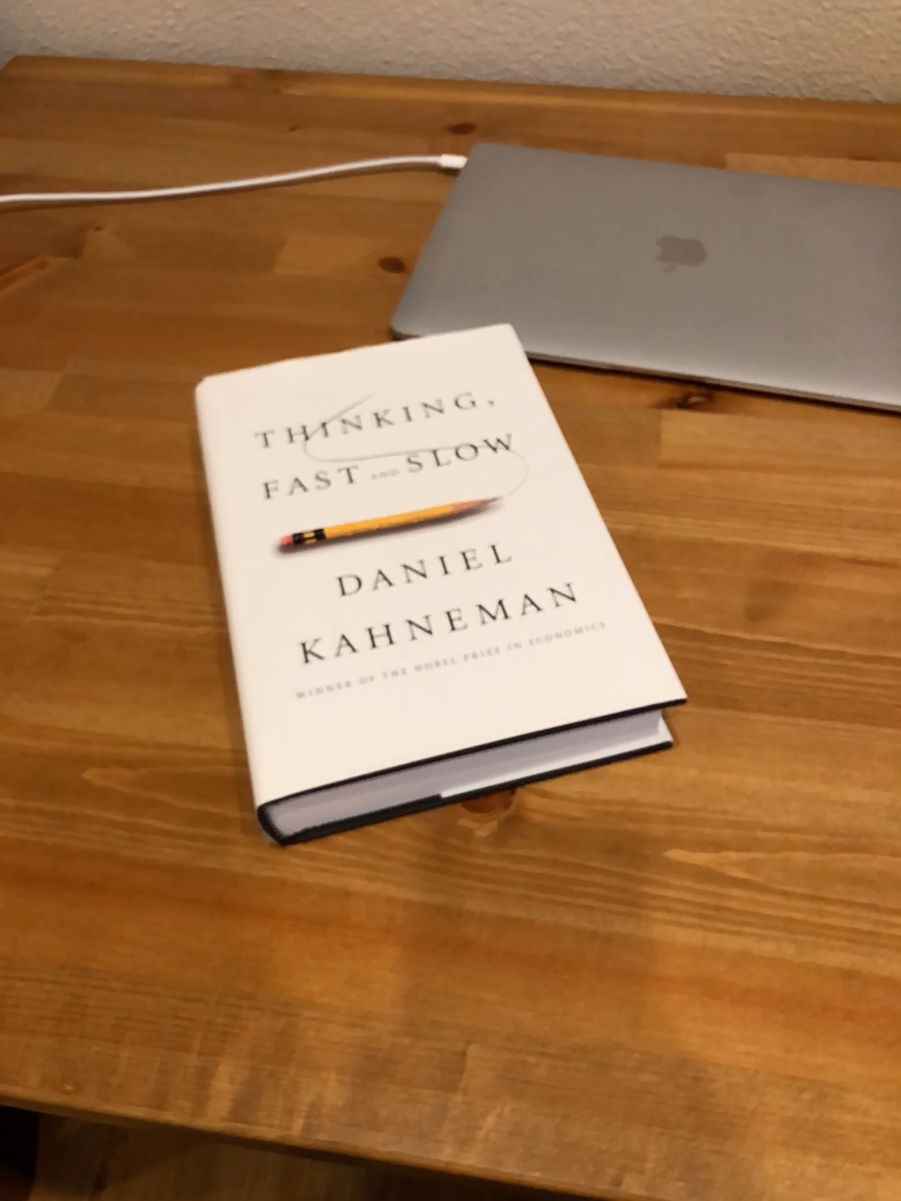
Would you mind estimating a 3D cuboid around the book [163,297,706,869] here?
[{"bbox_3d":[-0.024,-0.027,0.460,0.180,0.060,0.251,-12,52,-8],"label":"book"}]
